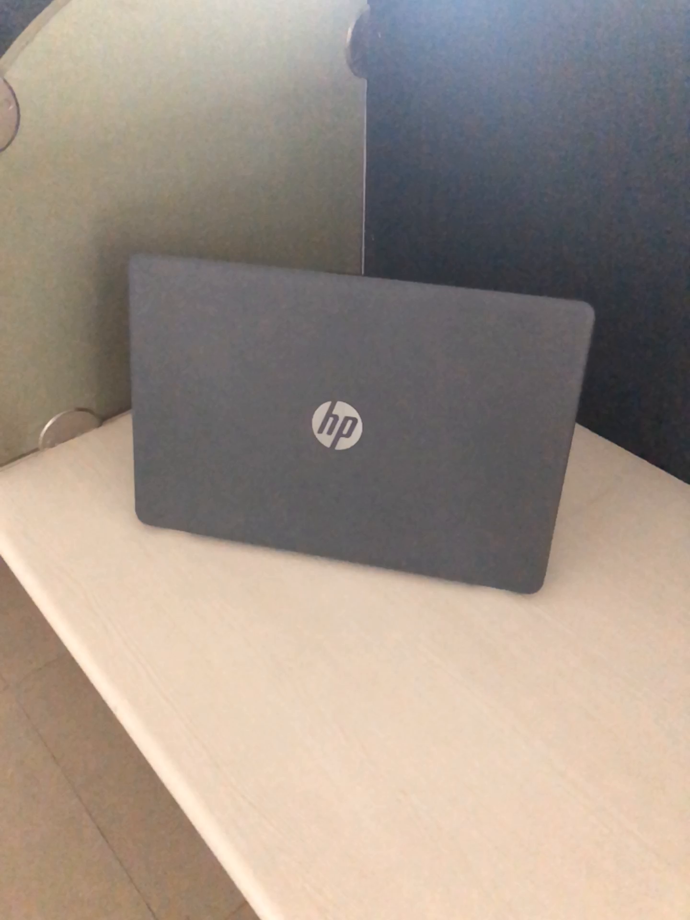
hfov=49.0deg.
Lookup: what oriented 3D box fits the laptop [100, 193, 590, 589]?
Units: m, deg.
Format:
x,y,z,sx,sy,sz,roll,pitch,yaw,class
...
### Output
x,y,z,sx,sy,sz,roll,pitch,yaw,class
0.016,-0.078,0.697,0.360,0.216,0.239,9,42,12,laptop
